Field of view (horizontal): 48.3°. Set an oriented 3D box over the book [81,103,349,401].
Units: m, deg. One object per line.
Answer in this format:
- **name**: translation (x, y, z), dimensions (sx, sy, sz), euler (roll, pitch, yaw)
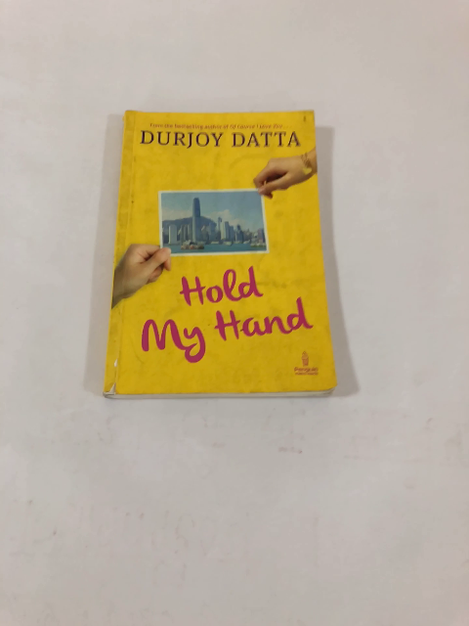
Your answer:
- **book**: translation (-0.011, -0.043, 0.317), dimensions (0.140, 0.020, 0.190), euler (1, 68, -4)
